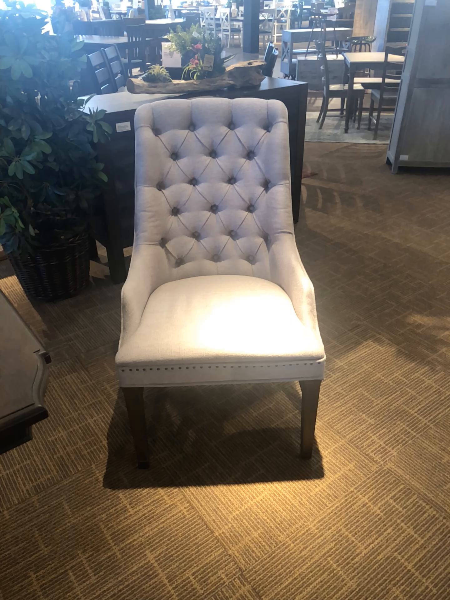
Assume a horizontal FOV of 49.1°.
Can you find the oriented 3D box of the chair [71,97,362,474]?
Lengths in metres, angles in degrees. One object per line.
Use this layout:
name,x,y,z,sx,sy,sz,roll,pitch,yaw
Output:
chair,-0.019,-0.074,1.672,0.640,1.015,0.764,-1,31,-1
